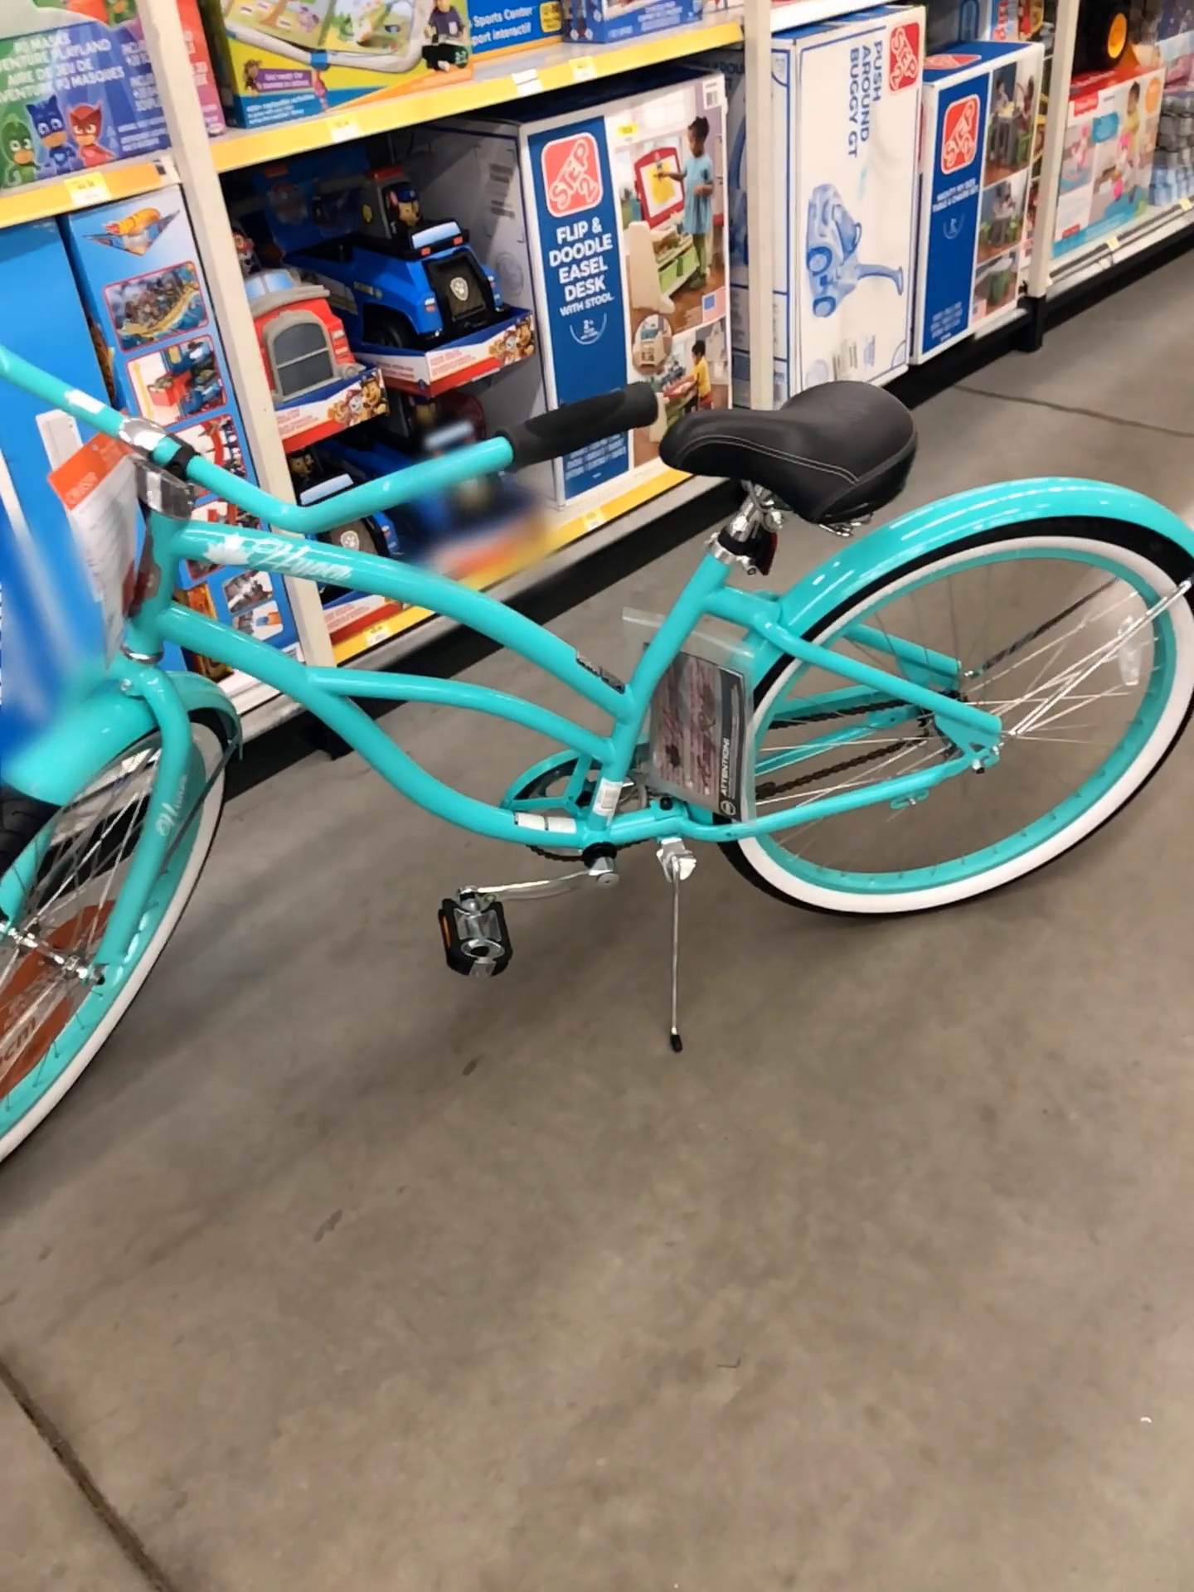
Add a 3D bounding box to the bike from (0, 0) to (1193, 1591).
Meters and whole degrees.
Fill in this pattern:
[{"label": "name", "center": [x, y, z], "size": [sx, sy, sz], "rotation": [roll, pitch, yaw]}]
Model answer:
[{"label": "bike", "center": [-0.048, -0.048, 1.261], "size": [1.492, 1.143, 0.762], "rotation": [-20, 38, -12]}]
